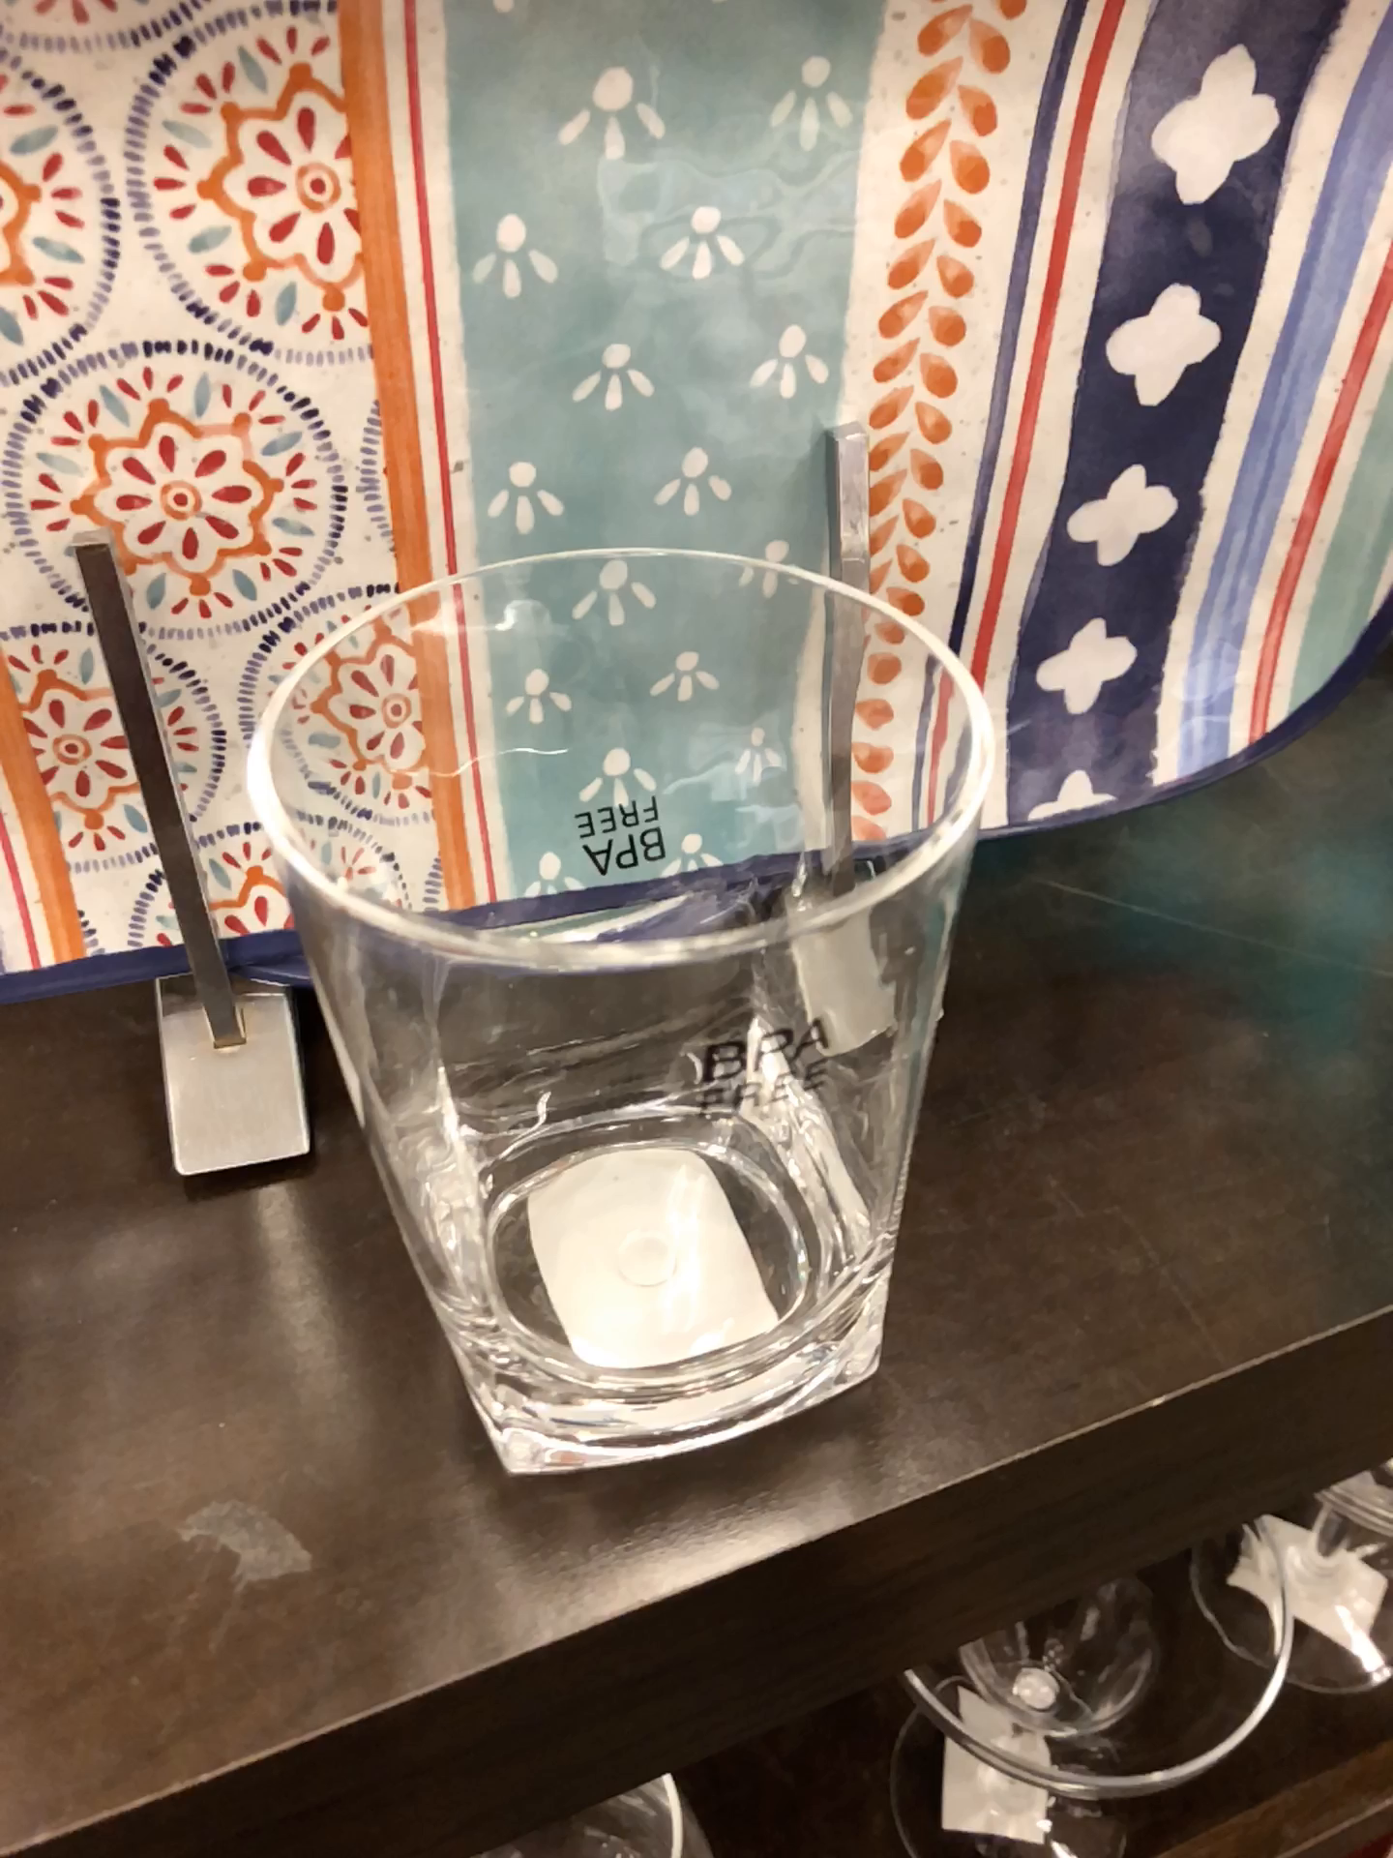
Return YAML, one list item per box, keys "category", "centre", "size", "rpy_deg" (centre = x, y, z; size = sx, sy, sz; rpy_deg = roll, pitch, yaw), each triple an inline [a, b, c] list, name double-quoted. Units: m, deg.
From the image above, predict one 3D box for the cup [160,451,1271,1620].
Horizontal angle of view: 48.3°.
- category: "cup"
  centre: [-0.006, 0.010, 0.237]
  size: [0.114, 0.111, 0.108]
  rpy_deg: [0, 40, 0]
